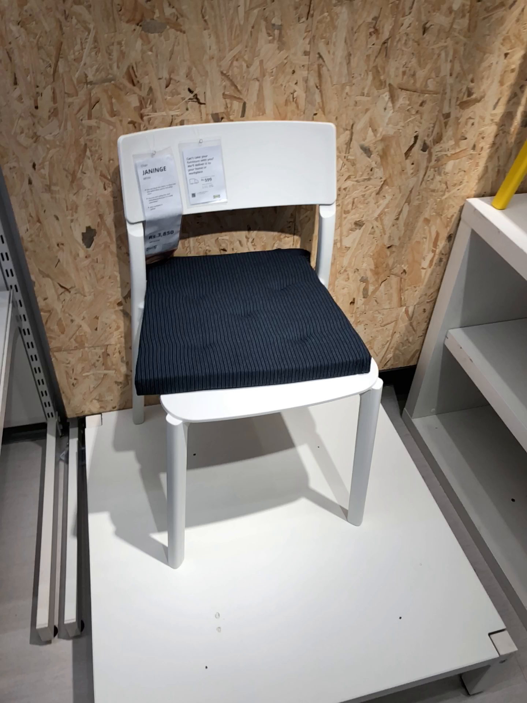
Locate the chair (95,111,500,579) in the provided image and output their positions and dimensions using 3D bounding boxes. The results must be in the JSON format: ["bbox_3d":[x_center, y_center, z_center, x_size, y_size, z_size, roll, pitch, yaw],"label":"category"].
[{"bbox_3d":[-0.004,-0.012,1.092,0.490,0.685,0.463,-8,43,-13],"label":"chair"}]
